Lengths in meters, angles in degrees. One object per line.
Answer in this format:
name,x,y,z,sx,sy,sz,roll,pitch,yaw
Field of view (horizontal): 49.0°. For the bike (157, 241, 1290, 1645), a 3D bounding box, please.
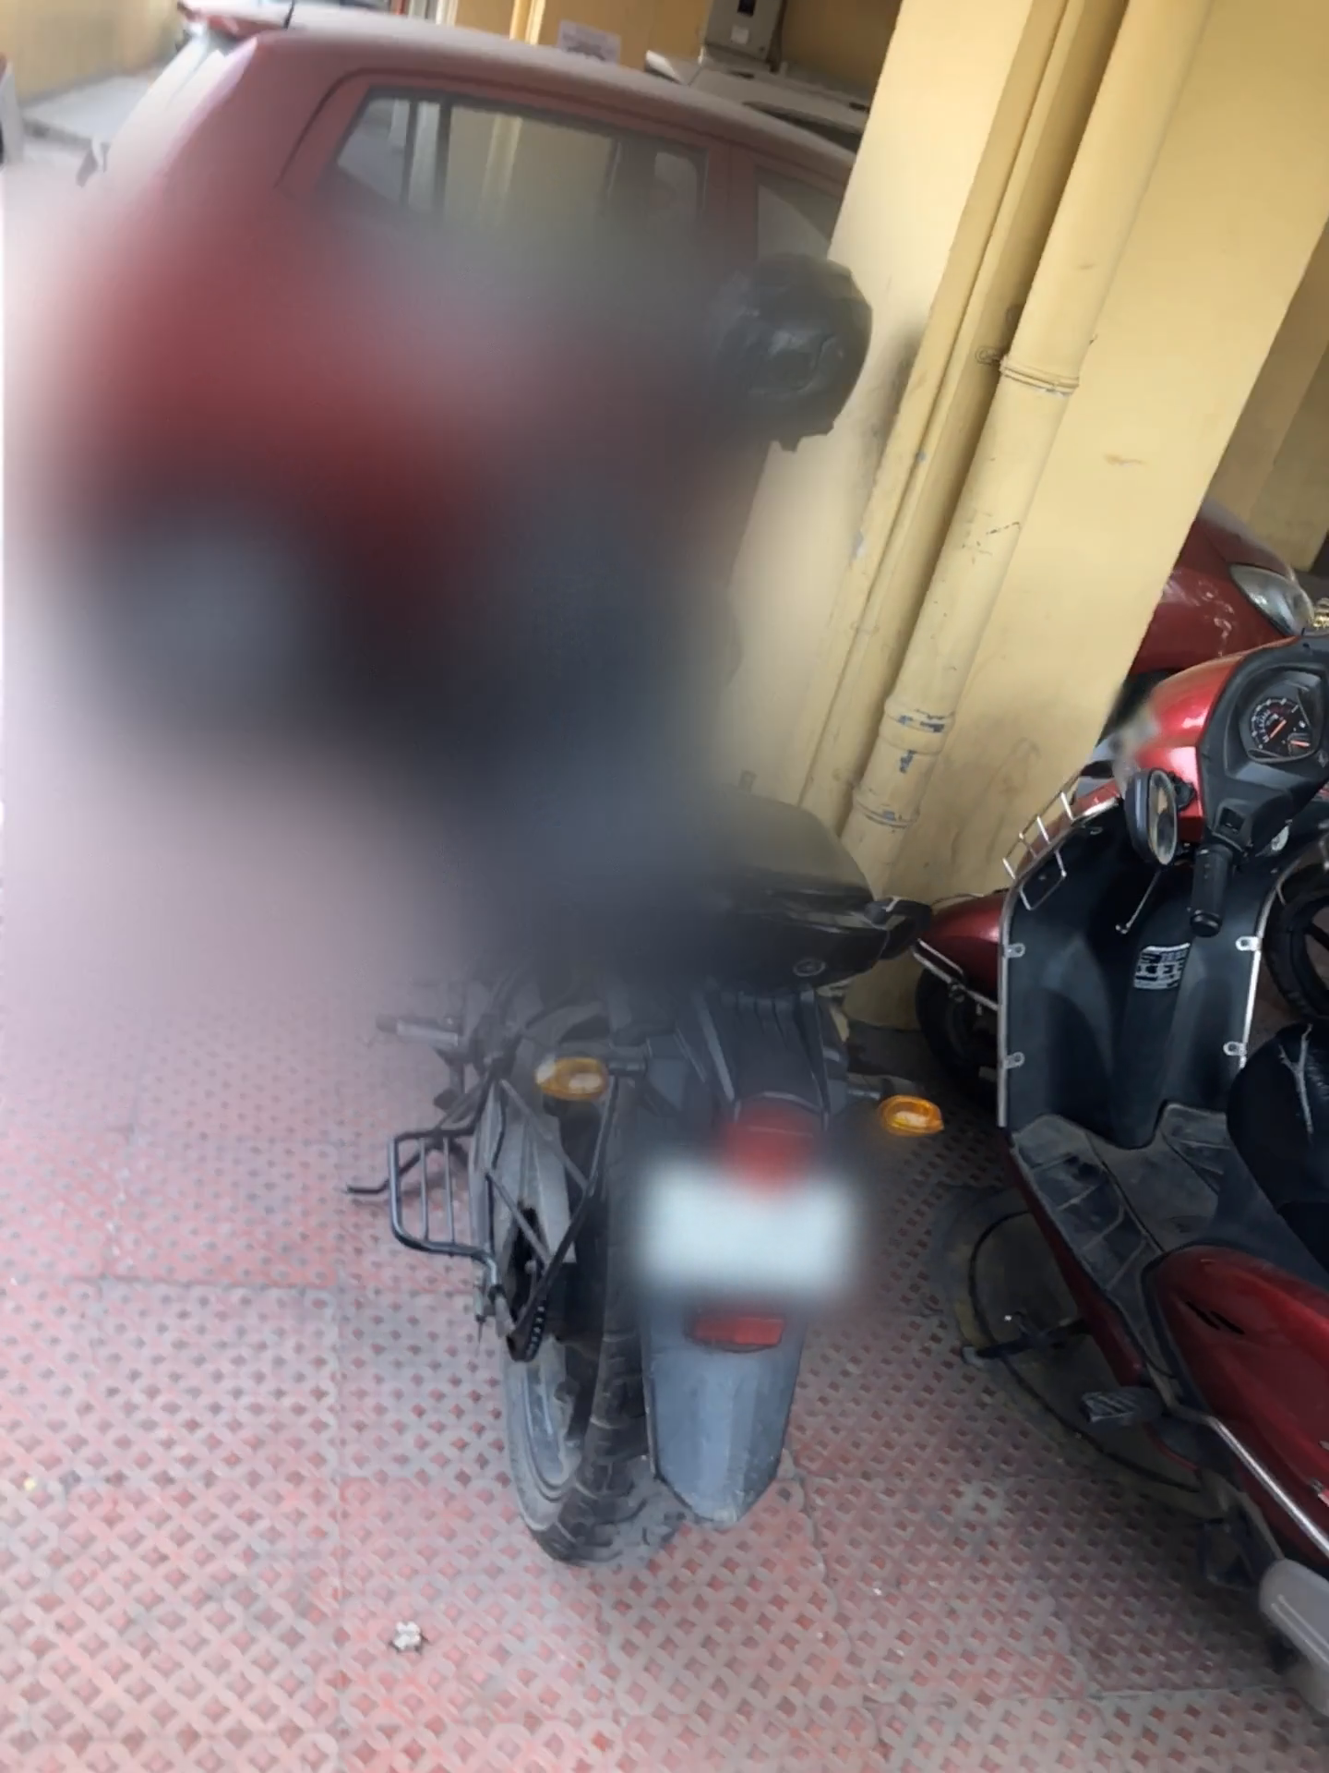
bike,-0.250,-0.116,2.000,0.739,1.025,1.790,6,28,-21
